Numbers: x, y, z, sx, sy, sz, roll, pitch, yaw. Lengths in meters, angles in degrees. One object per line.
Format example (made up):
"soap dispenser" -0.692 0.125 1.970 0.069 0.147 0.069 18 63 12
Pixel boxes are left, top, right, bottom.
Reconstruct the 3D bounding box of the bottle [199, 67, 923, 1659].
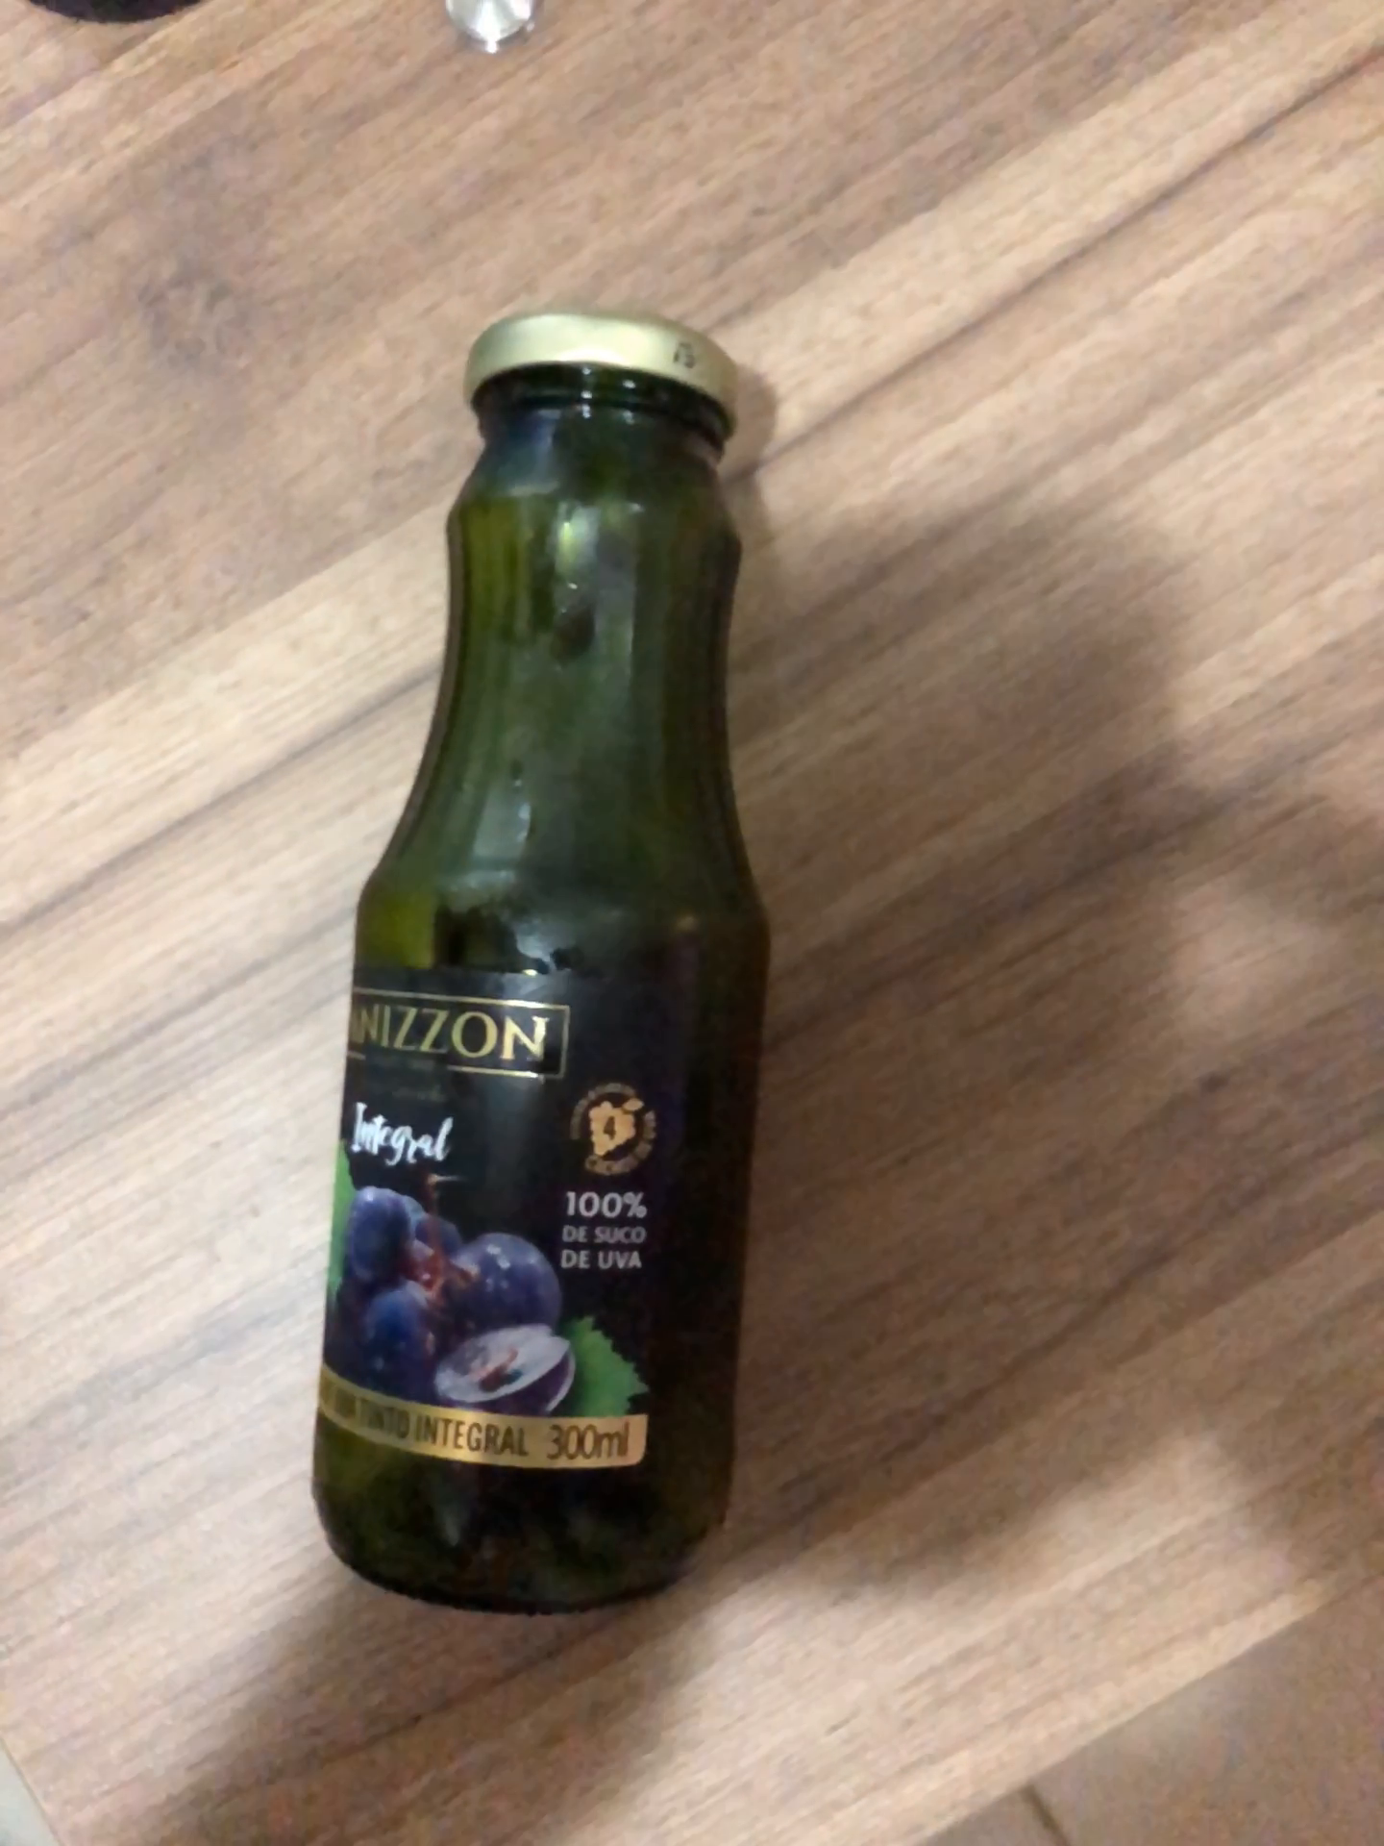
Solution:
"bottle" -0.019 -0.008 0.244 0.070 0.070 0.200 3 88 39
